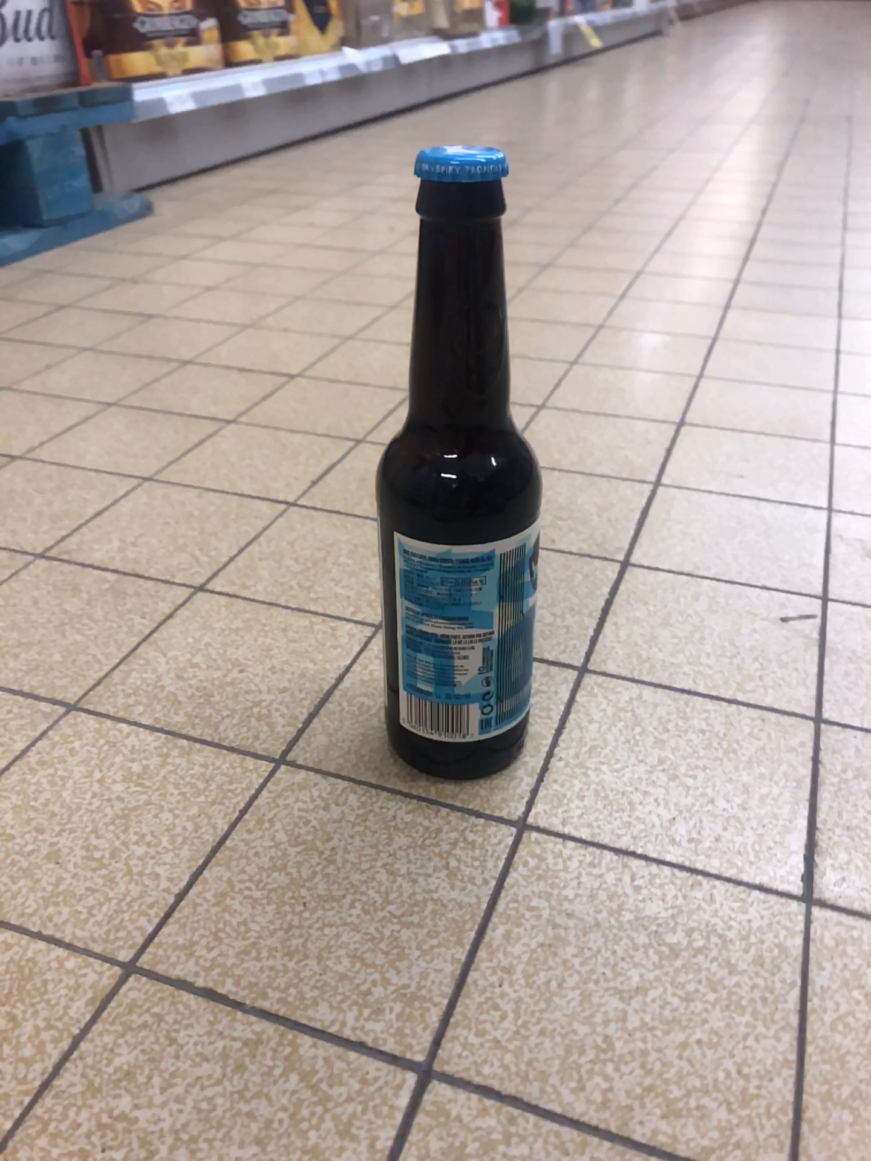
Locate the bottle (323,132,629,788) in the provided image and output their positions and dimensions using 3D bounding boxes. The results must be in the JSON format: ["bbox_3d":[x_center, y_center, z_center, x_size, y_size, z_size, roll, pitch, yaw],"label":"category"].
[{"bbox_3d":[0.010,-0.037,0.337,0.070,0.209,0.070,-1,31,0],"label":"bottle"}]
